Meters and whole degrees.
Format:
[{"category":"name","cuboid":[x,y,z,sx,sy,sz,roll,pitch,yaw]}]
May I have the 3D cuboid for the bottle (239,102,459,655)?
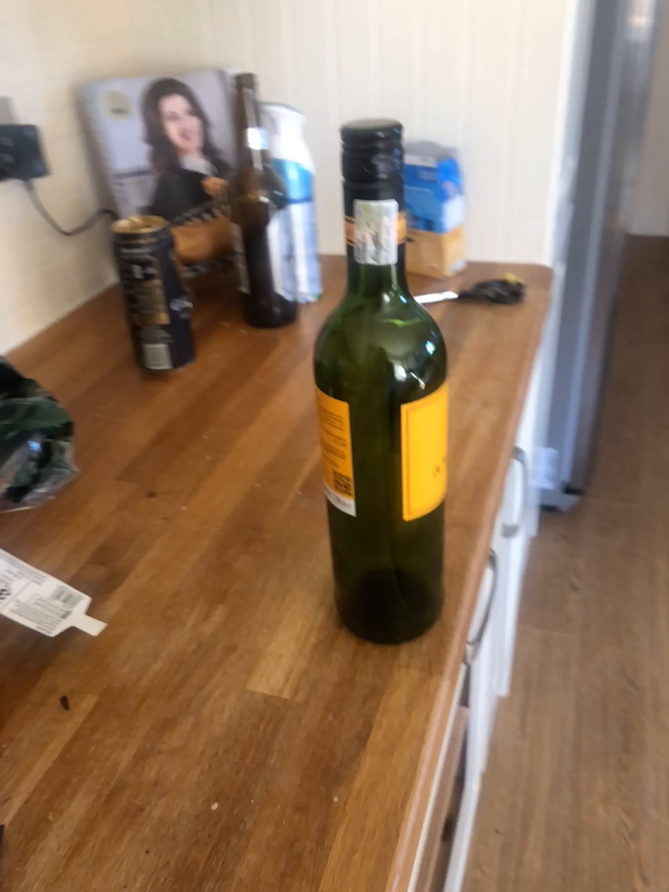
[{"category":"bottle","cuboid":[0.019,-0.023,0.419,0.090,0.298,0.091,-3,32,2]}]
